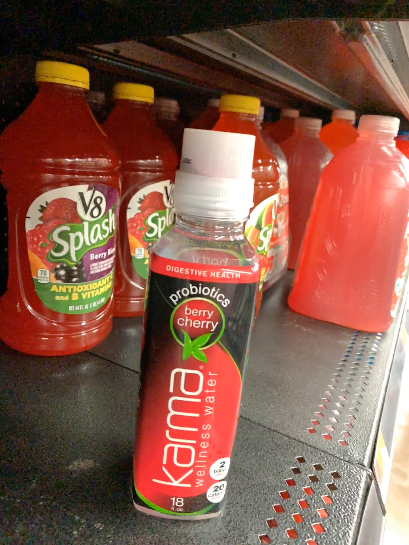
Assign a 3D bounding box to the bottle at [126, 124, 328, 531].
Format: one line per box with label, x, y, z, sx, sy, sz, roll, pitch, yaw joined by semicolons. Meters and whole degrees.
bottle;0.004;0.031;0.238;0.068;0.209;0.070;7;18;-2
